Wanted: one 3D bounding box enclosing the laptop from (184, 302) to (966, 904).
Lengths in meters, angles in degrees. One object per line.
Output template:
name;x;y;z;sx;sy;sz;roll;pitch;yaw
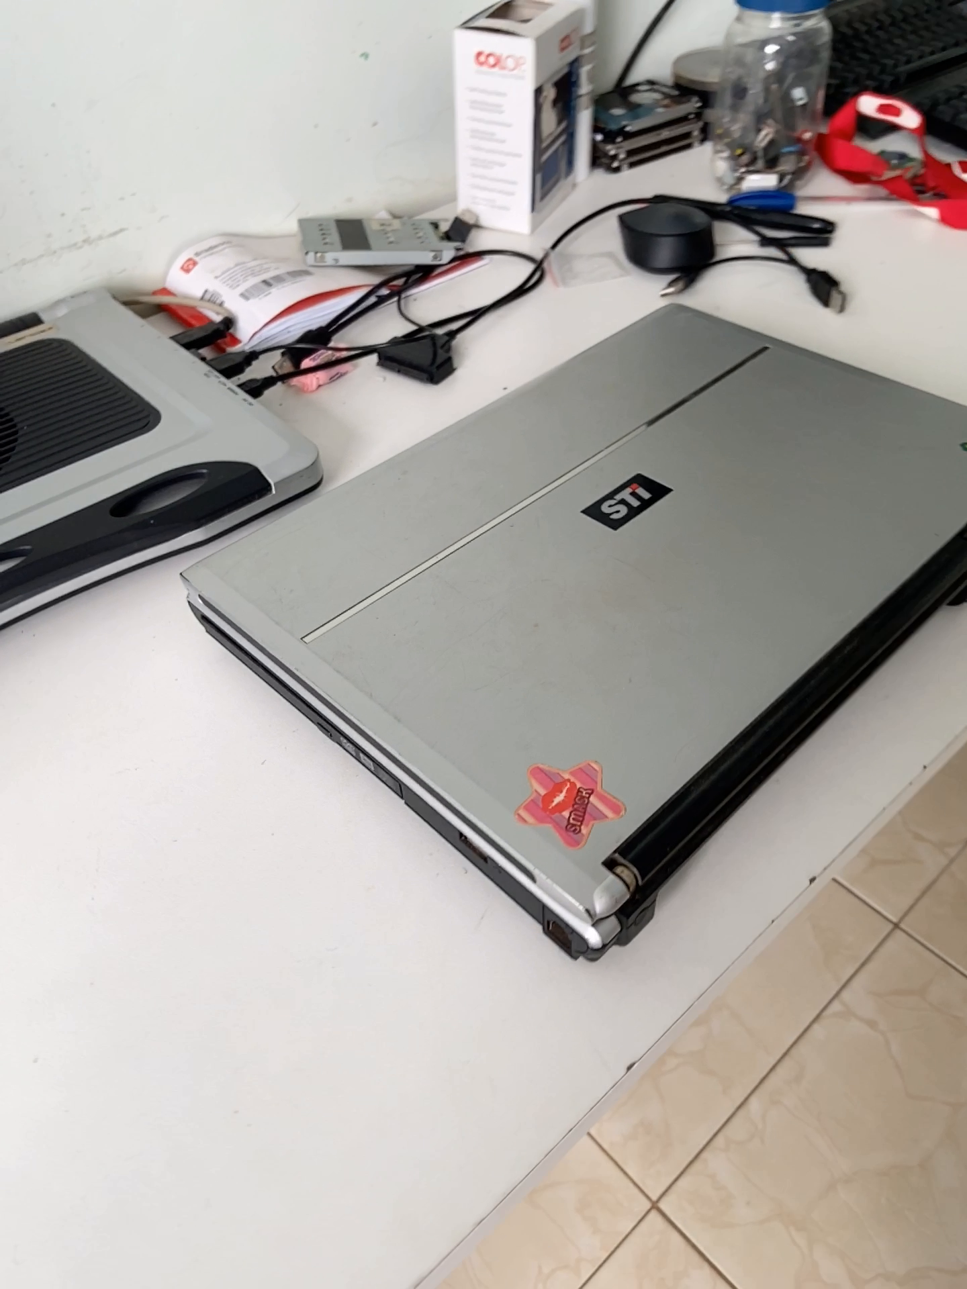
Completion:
laptop;0.075;-0.061;0.453;0.340;0.004;0.235;-35;52;-28
